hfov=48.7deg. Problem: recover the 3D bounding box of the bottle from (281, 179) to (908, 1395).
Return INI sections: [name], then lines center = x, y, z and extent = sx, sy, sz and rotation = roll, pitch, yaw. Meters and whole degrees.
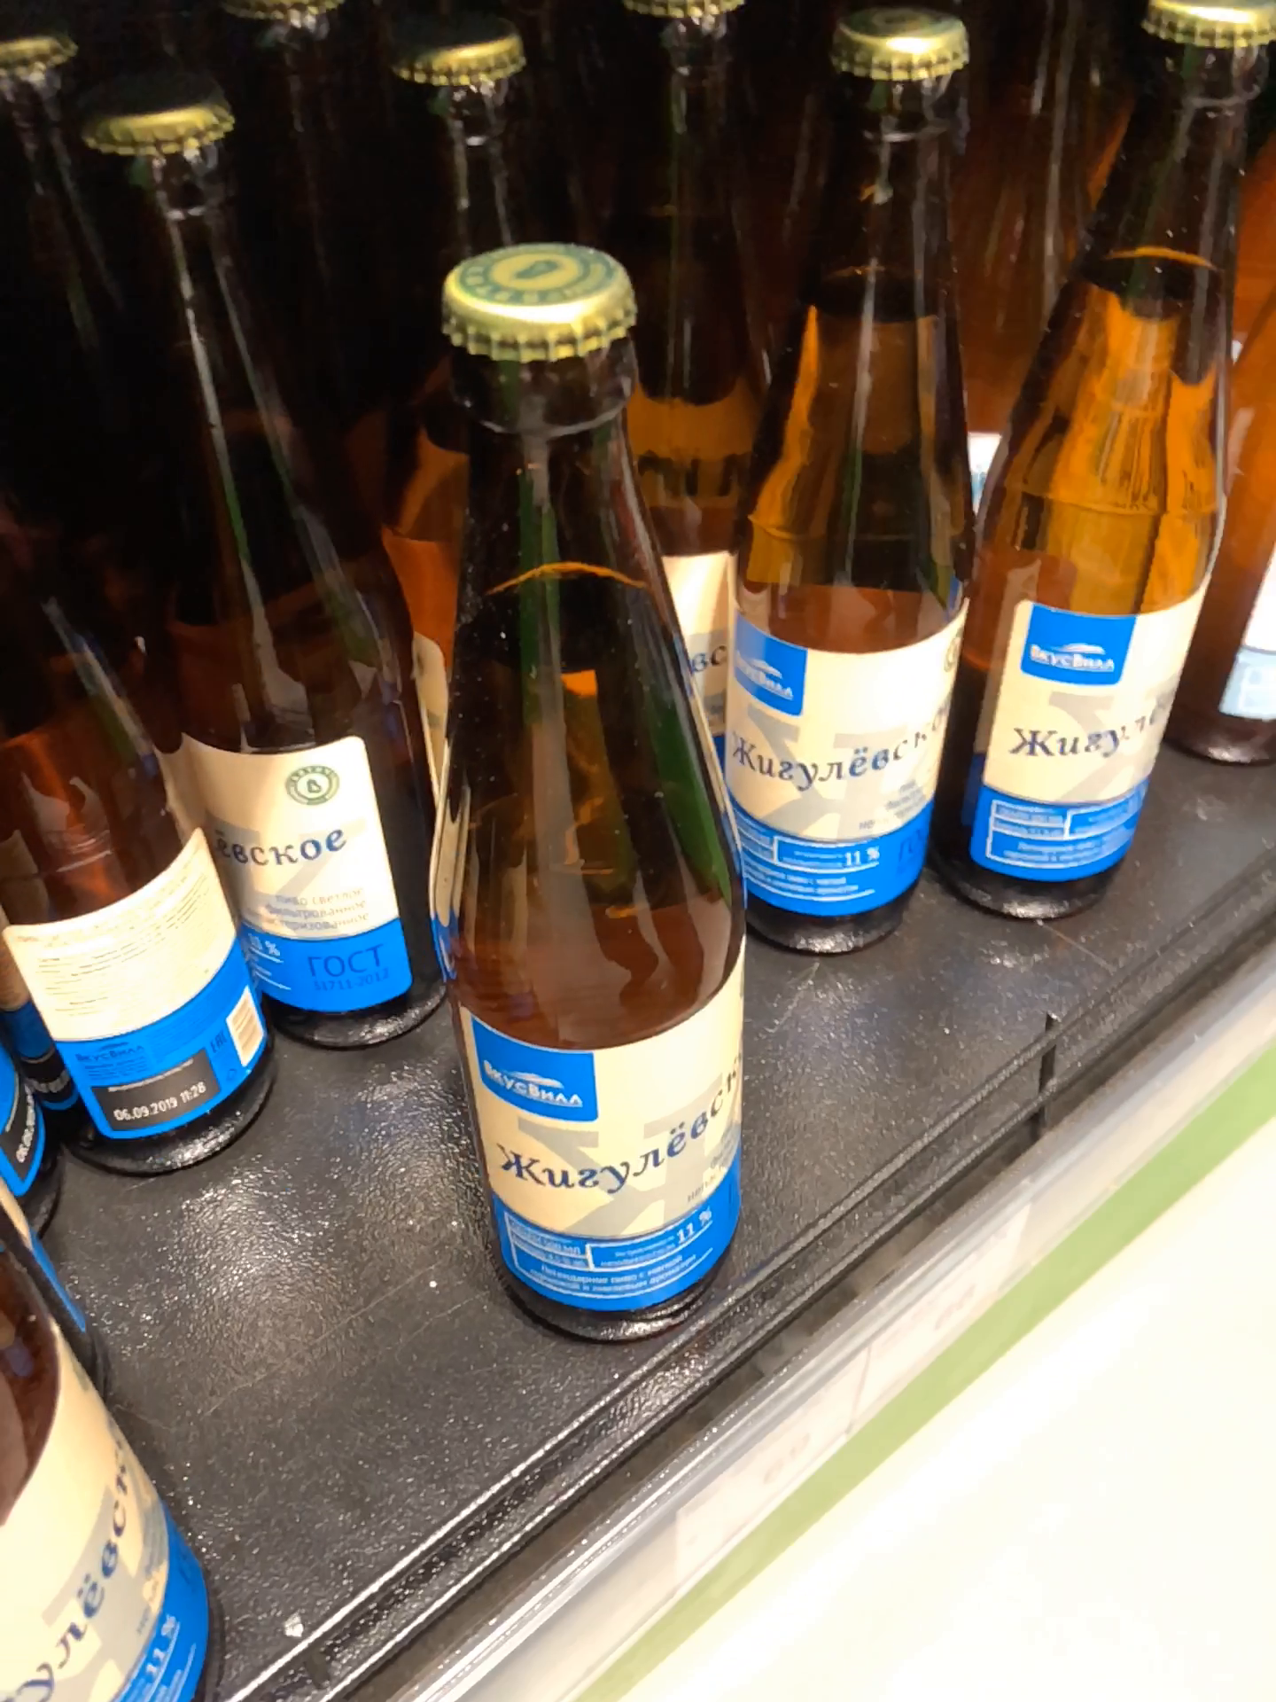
[bottle]
center = -0.009, 0.010, 0.286
extent = 0.070, 0.249, 0.070
rotation = 0, 44, 0
